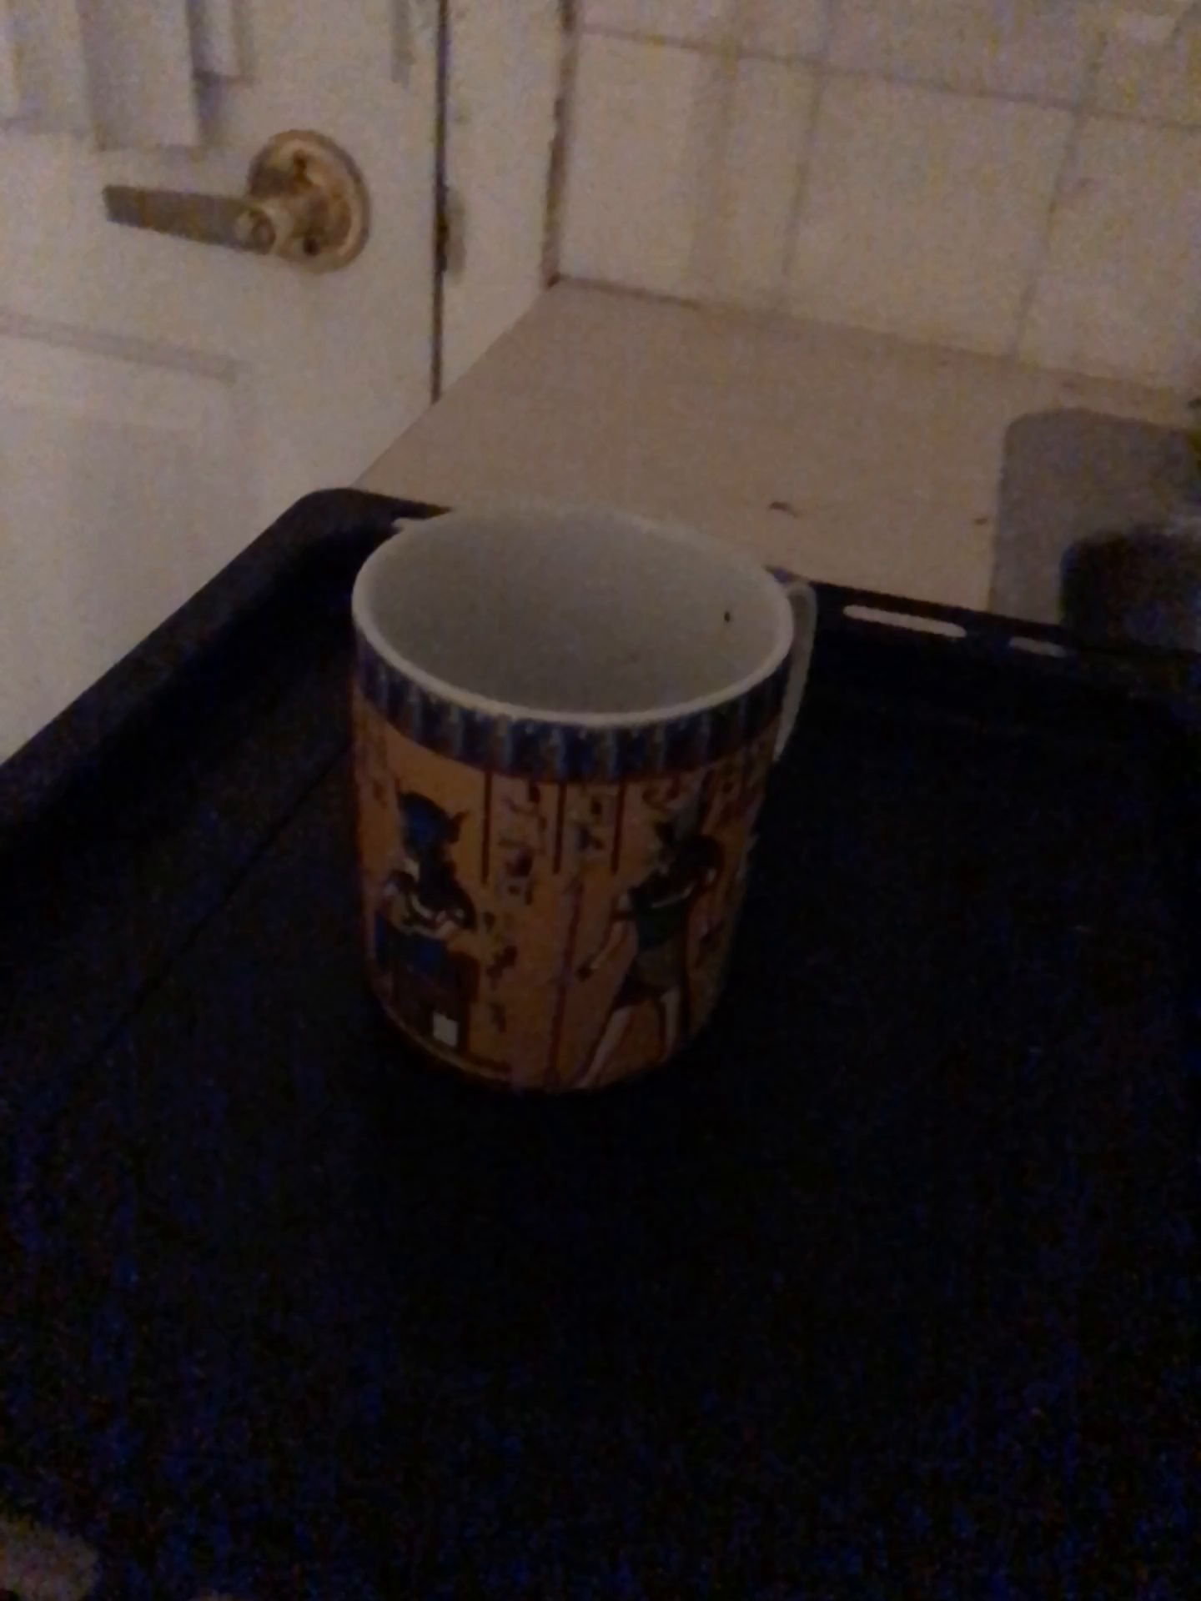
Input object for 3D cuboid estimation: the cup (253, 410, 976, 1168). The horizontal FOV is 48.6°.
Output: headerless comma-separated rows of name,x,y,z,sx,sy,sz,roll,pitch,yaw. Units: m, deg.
cup,0.004,-0.011,0.278,0.080,0.089,0.121,29,43,26
